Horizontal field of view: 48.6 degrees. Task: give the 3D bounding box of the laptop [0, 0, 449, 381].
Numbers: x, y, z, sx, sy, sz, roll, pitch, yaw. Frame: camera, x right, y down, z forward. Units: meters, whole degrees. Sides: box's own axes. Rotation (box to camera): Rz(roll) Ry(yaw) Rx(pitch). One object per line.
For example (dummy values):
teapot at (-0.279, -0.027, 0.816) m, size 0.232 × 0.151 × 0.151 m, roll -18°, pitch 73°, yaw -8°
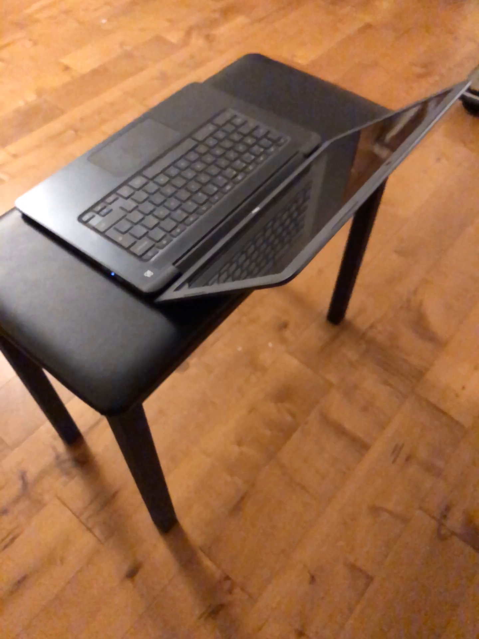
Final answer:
laptop at (-0.028, -0.180, 0.577) m, size 0.363 × 0.143 × 0.317 m, roll 33°, pitch 60°, yaw 18°
